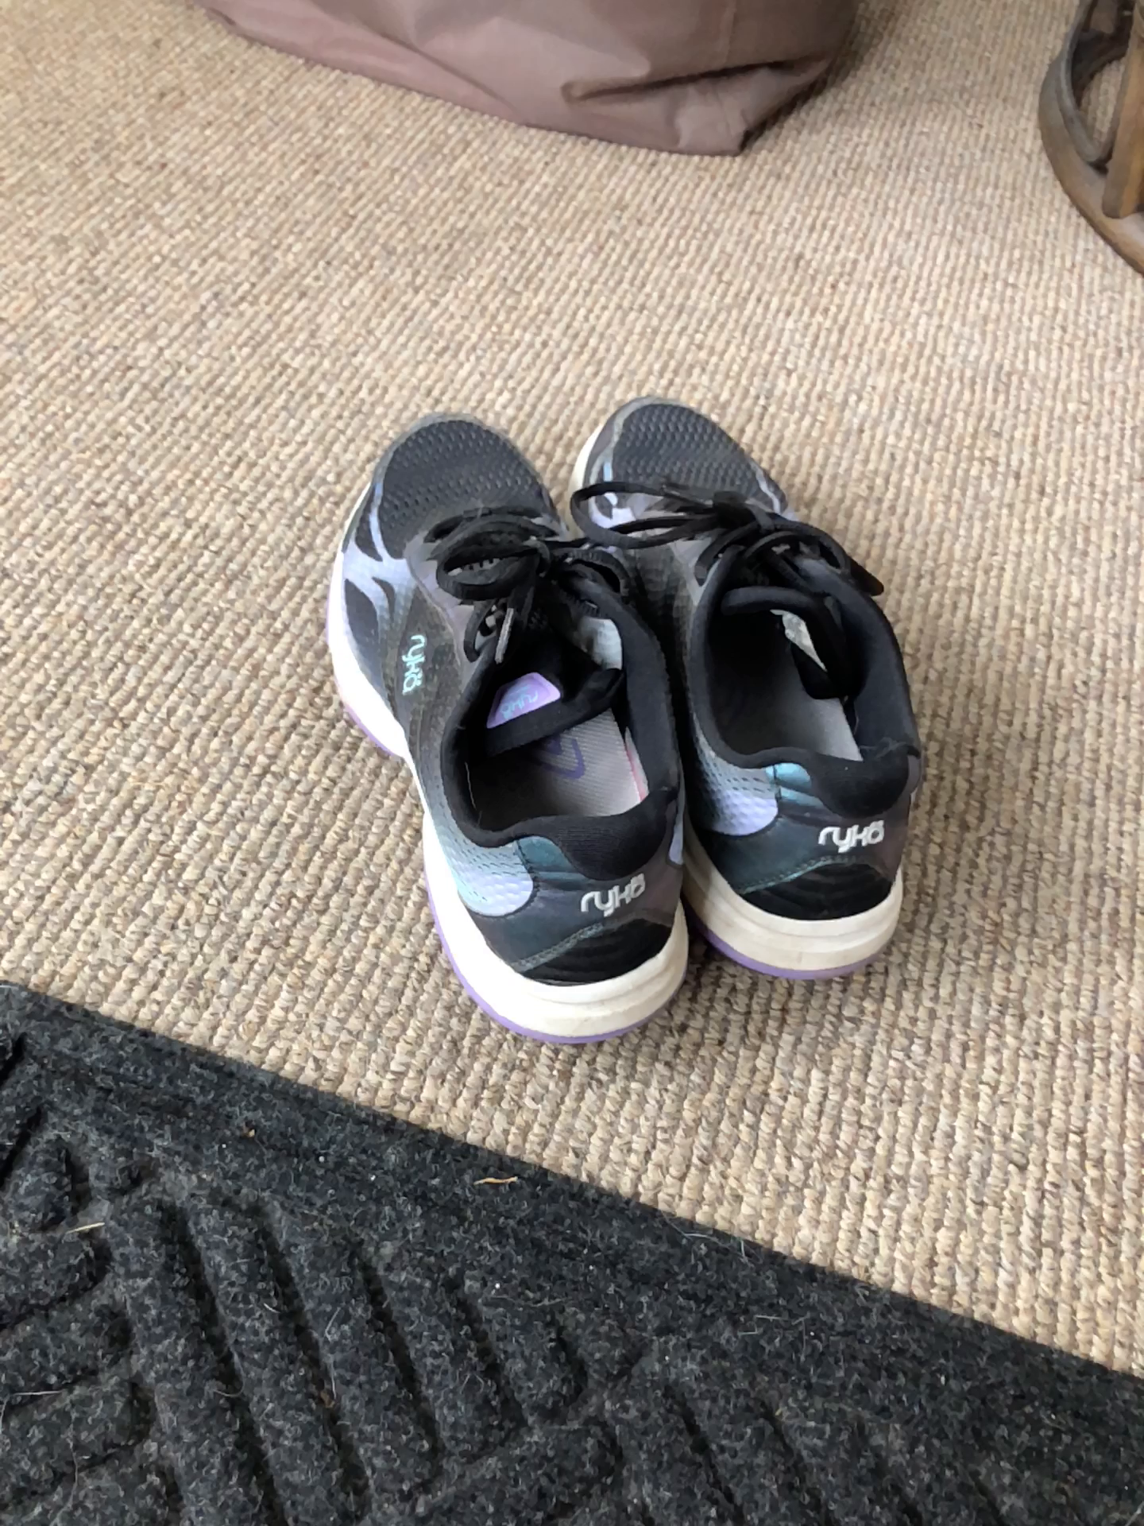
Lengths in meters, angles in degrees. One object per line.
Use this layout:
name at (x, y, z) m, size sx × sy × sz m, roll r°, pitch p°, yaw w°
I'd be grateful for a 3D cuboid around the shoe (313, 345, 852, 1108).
shoe at (-0.016, -0.027, 0.461) m, size 0.110 × 0.103 × 0.257 m, roll -9°, pitch 55°, yaw -17°

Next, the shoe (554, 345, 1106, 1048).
shoe at (0.078, -0.038, 0.488) m, size 0.103 × 0.103 × 0.258 m, roll -5°, pitch 54°, yaw -15°
